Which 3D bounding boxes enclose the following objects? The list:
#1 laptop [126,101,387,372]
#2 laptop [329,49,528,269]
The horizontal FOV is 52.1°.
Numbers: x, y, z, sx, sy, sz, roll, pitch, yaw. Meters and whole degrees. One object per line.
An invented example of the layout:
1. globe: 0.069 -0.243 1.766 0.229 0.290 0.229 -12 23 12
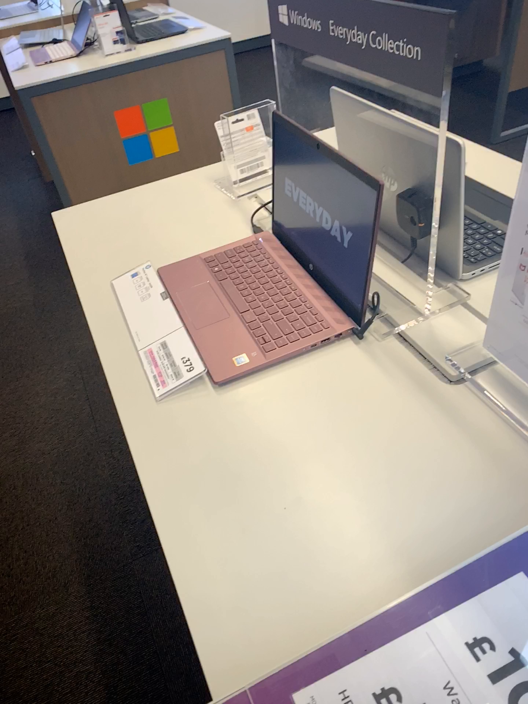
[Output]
1. laptop: -0.020 -0.184 0.780 0.249 0.200 0.314 -21 43 -12
2. laptop: 0.293 -0.326 0.865 0.244 0.186 0.326 -21 43 -14
